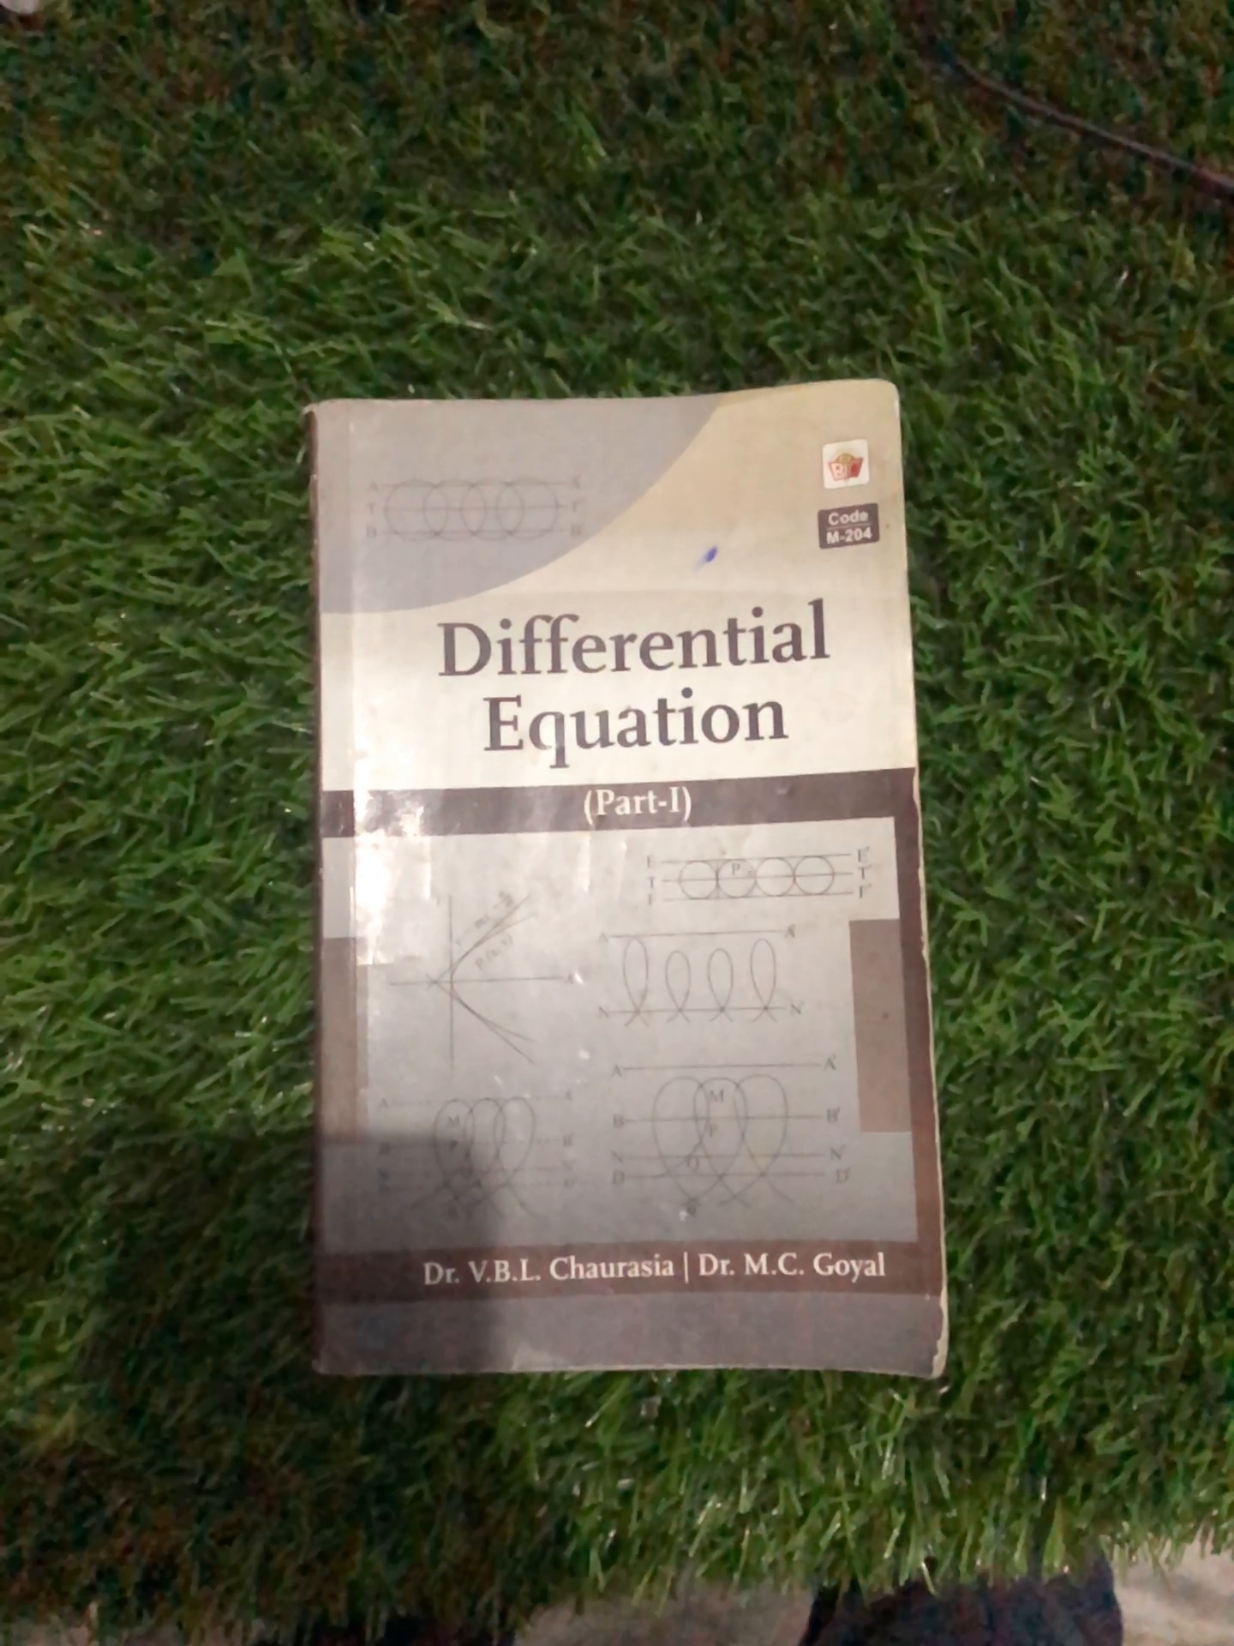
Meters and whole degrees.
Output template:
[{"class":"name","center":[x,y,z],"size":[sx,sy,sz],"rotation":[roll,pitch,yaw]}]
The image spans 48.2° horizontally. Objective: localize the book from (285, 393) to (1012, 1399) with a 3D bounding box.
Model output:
[{"class":"book","center":[0.004,0.011,0.293],"size":[0.140,0.030,0.200],"rotation":[-1,83,-2]}]
